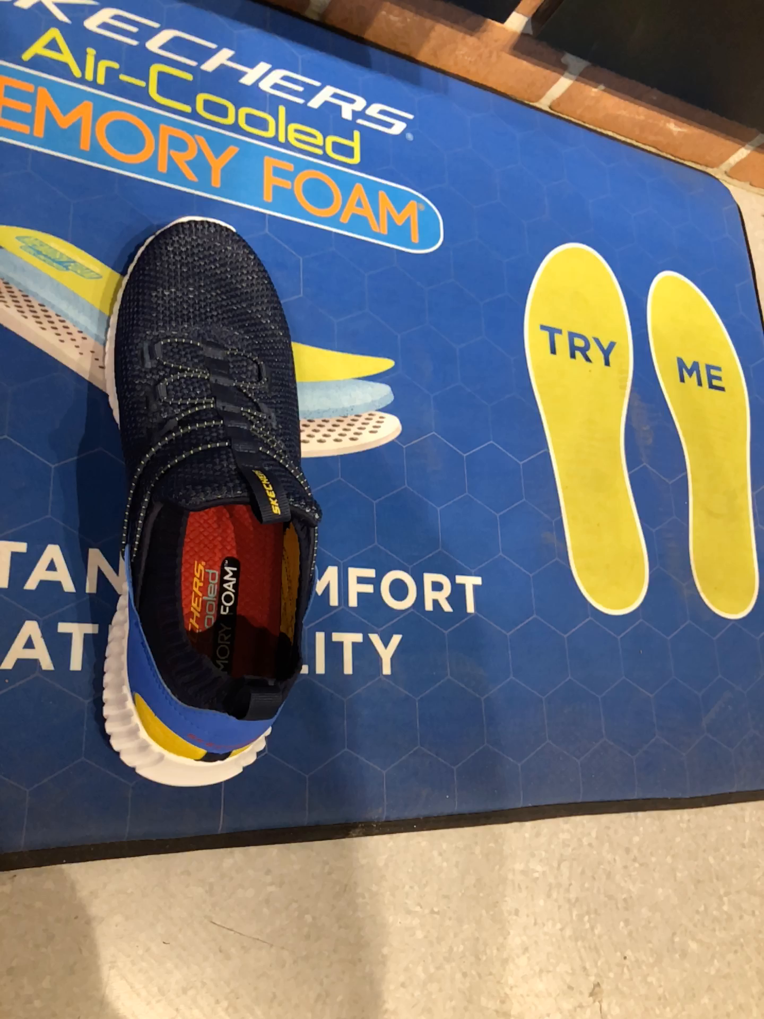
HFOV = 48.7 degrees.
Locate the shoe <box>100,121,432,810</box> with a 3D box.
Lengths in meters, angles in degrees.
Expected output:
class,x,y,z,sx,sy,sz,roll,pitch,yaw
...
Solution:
class,x,y,z,sx,sy,sz,roll,pitch,yaw
shoe,-0.063,-0.016,0.395,0.112,0.103,0.280,4,73,-28
